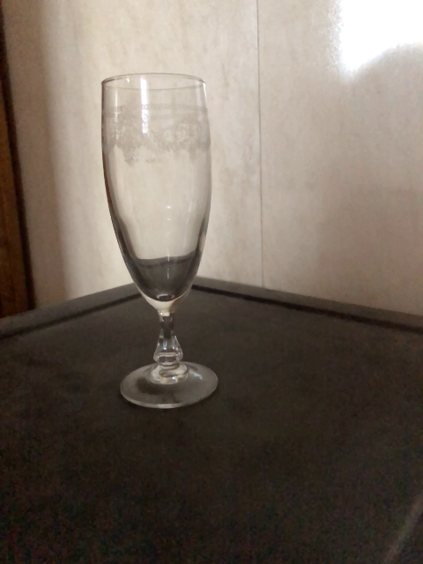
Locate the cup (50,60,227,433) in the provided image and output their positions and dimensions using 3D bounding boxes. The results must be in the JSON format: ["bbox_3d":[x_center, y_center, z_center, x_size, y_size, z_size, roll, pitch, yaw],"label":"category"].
[{"bbox_3d":[-0.032,-0.017,0.249,0.060,0.169,0.060,-2,12,0],"label":"cup"}]
